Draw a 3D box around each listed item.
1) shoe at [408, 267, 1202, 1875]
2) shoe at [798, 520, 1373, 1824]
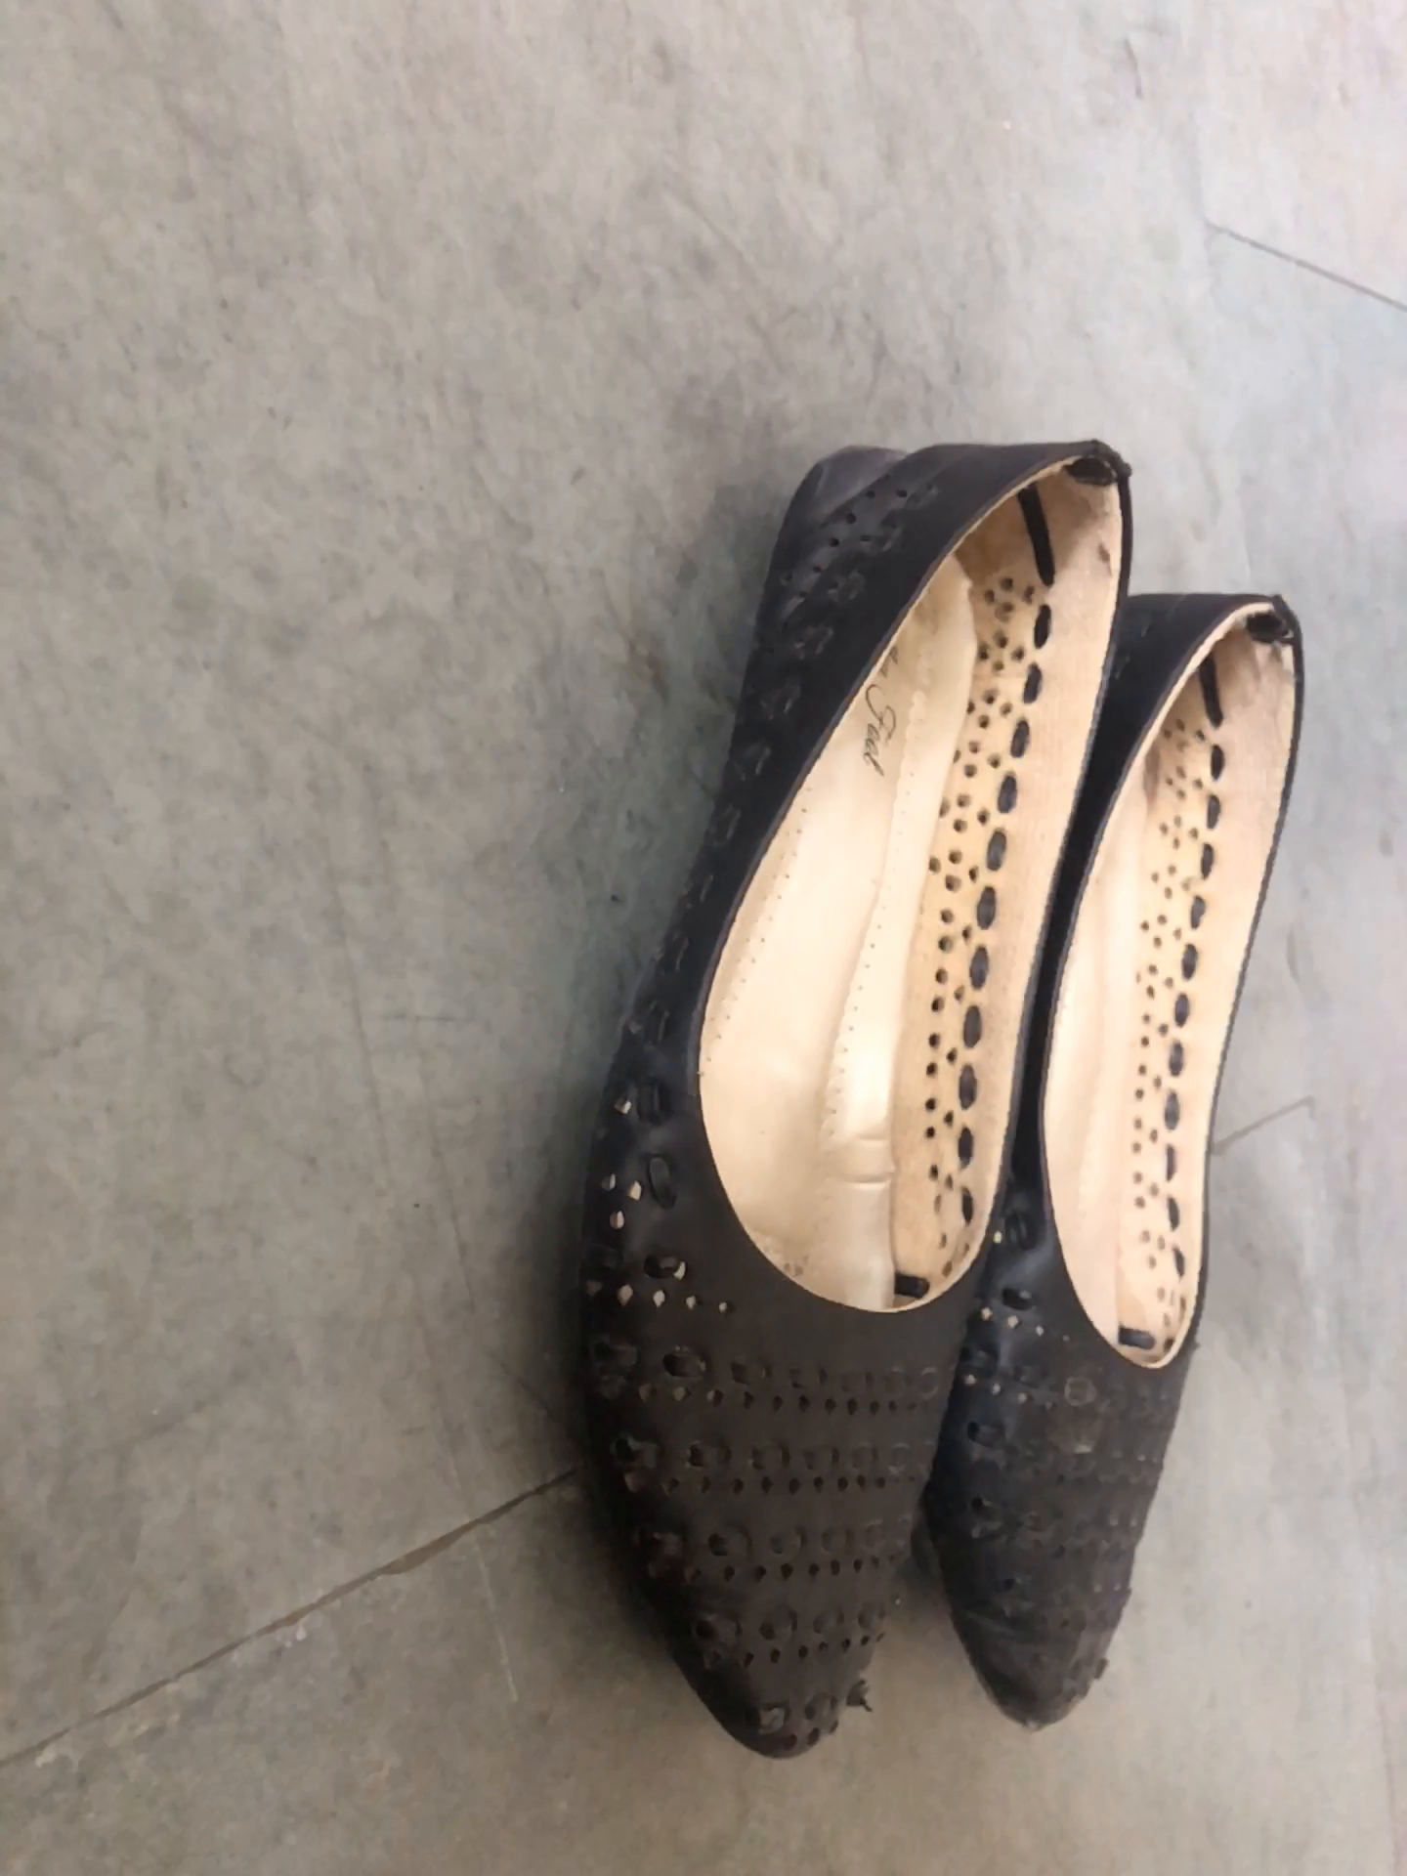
[{"bbox_3d":[0.029,0.023,0.276,0.096,0.062,0.242,23,70,-43],"label":"shoe"},{"bbox_3d":[0.092,0.046,0.349,0.096,0.073,0.242,19,72,-44],"label":"shoe"}]
